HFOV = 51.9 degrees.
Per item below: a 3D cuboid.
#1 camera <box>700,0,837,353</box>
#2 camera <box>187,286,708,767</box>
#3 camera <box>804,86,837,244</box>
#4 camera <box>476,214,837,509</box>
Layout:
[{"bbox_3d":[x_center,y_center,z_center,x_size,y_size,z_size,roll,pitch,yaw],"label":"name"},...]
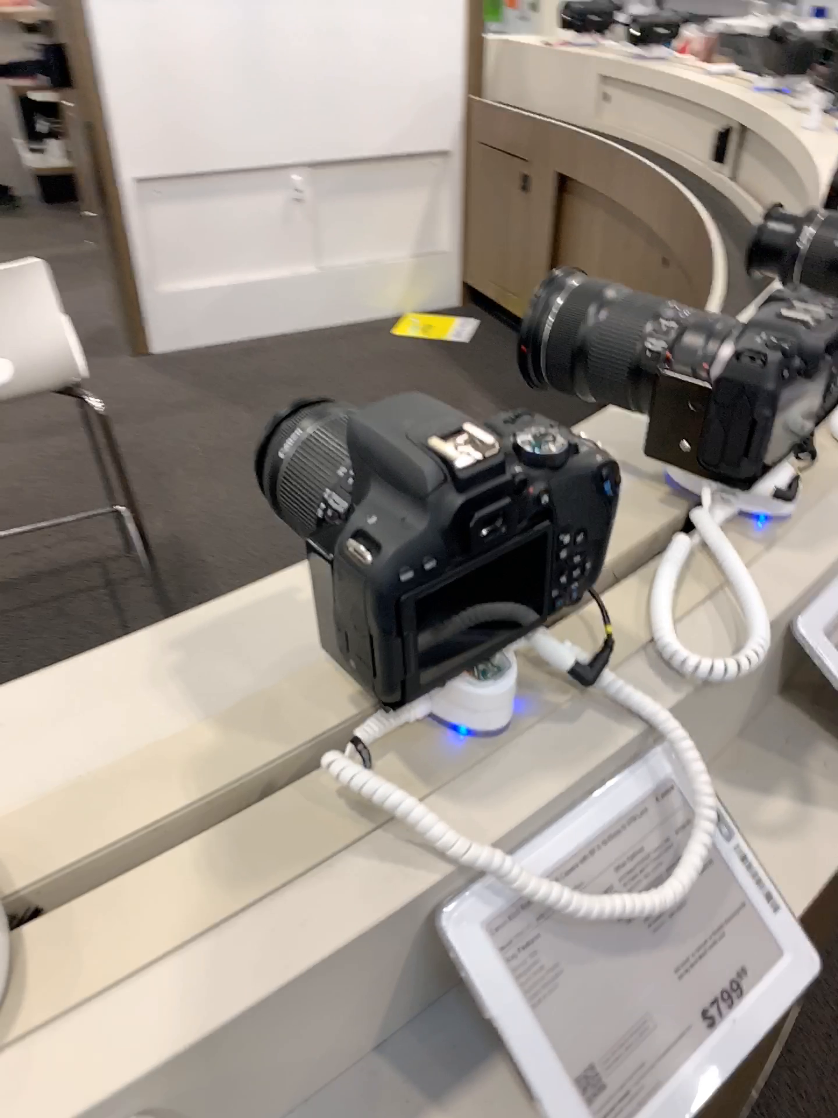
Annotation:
[{"bbox_3d":[0.353,-0.309,0.673,0.171,0.219,0.150,26,43,32],"label":"camera"},{"bbox_3d":[0.008,-0.031,0.406,0.150,0.119,0.171,-25,43,-31],"label":"camera"},{"bbox_3d":[0.510,-0.395,0.851,0.191,0.099,0.140,22,41,27],"label":"camera"},{"bbox_3d":[0.161,-0.138,0.554,0.201,0.099,0.140,27,44,32],"label":"camera"}]
